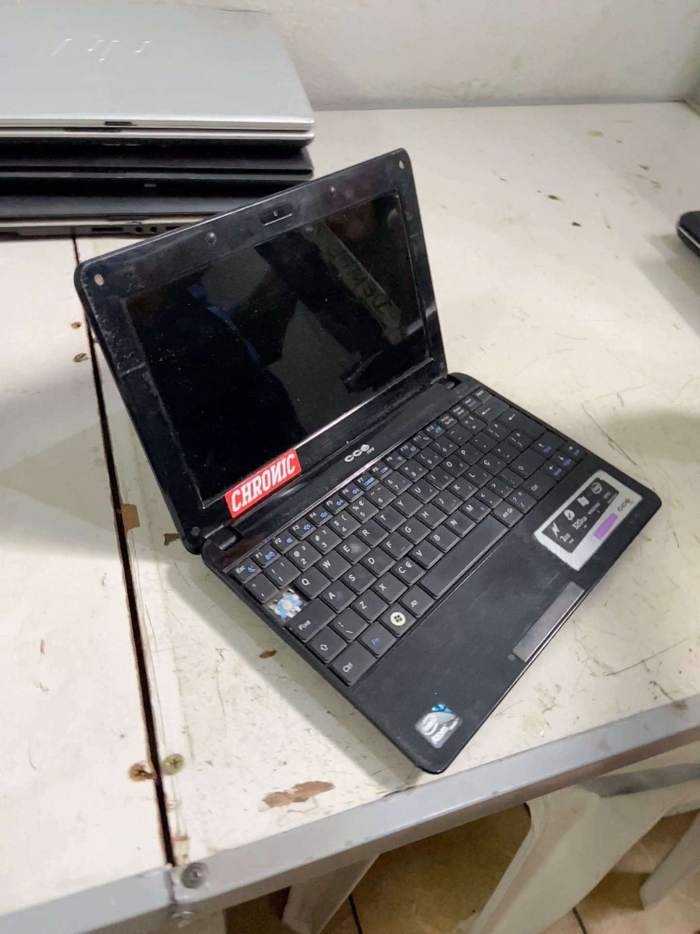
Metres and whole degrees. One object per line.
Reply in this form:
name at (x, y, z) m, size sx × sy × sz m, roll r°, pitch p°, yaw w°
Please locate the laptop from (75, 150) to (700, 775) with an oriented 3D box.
laptop at (0.038, -0.034, 0.415) m, size 0.258 × 0.137 × 0.254 m, roll 38°, pitch 52°, yaw 23°
